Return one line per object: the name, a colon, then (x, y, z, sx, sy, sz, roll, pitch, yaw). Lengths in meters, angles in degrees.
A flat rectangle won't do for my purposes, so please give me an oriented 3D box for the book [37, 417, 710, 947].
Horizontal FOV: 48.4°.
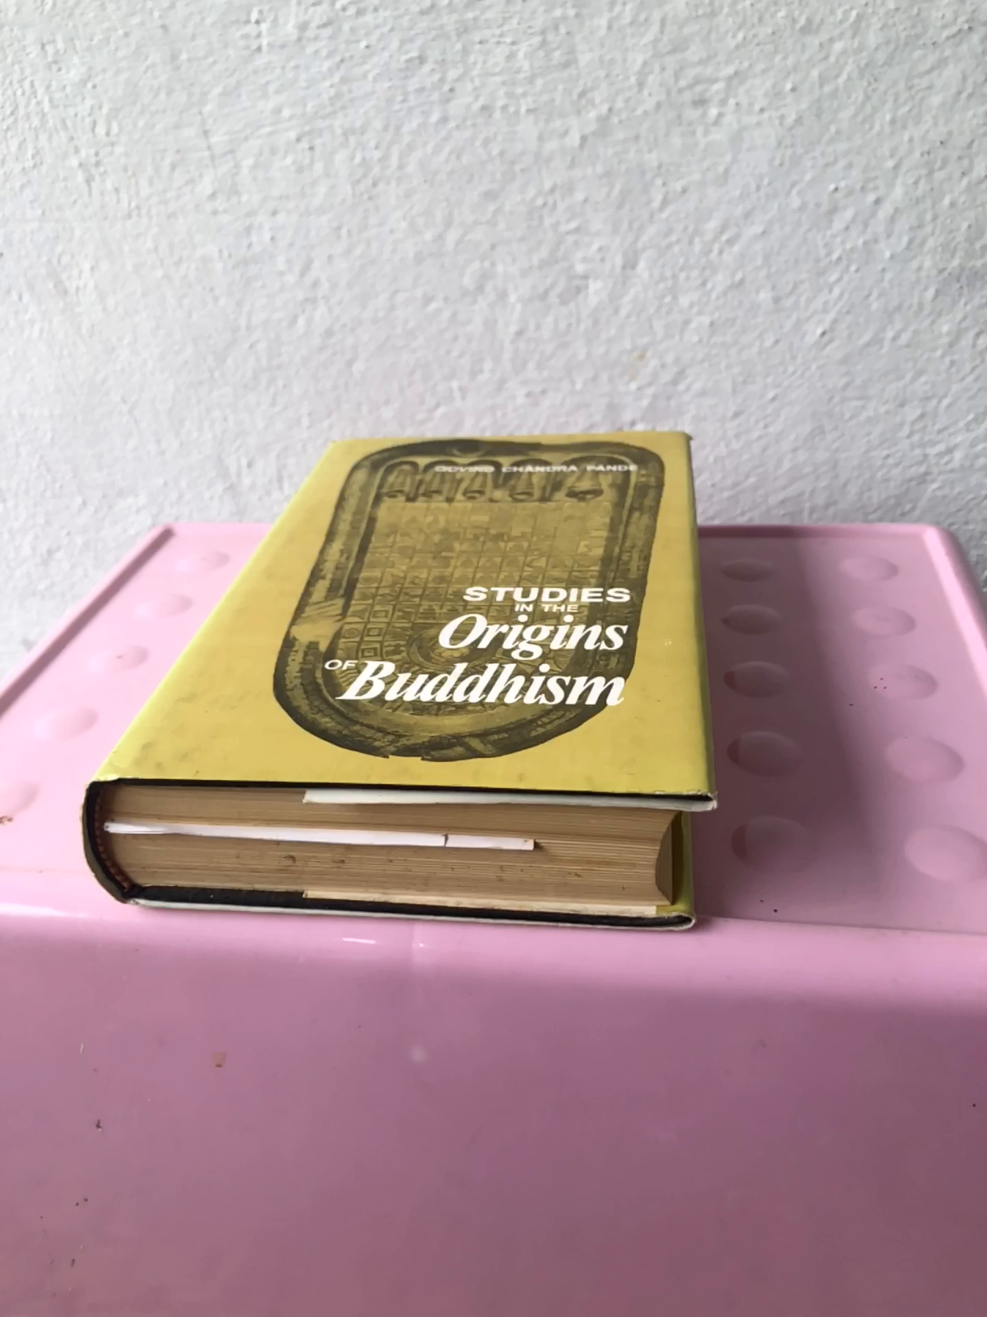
book: (-0.012, -0.017, 0.351, 0.150, 0.040, 0.241, 2, 32, 8)
